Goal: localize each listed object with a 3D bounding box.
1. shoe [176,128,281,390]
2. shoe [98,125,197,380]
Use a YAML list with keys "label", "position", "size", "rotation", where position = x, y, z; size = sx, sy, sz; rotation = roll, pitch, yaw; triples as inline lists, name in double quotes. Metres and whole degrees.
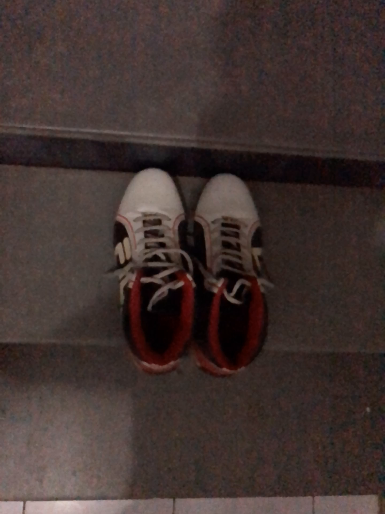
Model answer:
- label: "shoe"
  position: [0.043, 0.005, 0.555]
  size: [0.110, 0.100, 0.310]
  rotation: [3, 77, -6]
- label: "shoe"
  position: [-0.057, -0.002, 0.572]
  size: [0.110, 0.120, 0.310]
  rotation: [1, 77, -6]
